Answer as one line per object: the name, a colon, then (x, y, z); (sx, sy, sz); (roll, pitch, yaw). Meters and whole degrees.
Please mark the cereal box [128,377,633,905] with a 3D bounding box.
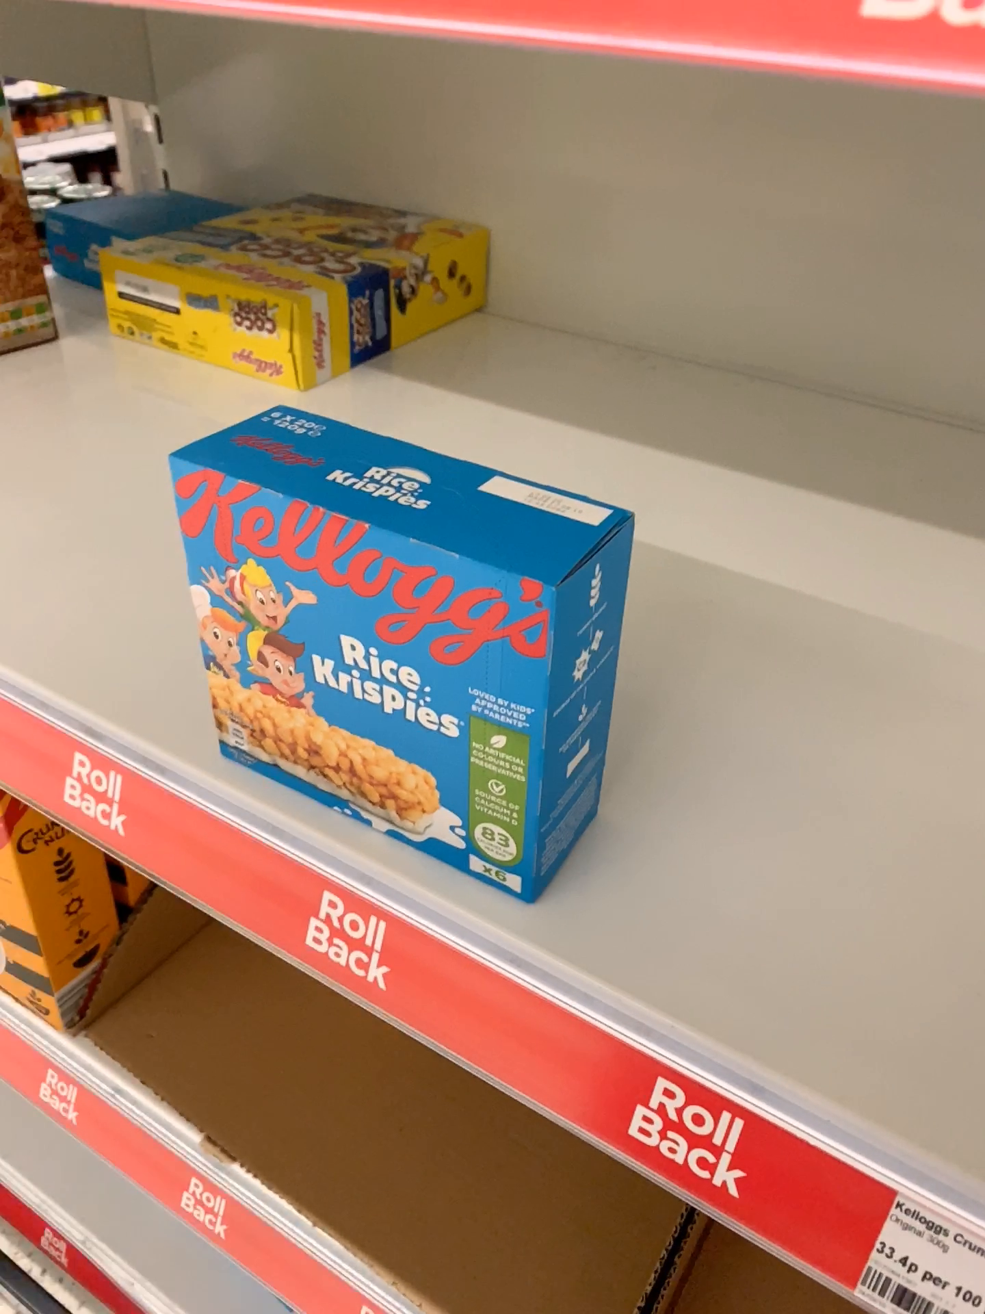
cereal box: (-0.039, -0.008, 0.343); (0.150, 0.129, 0.050); (21, 40, 23)
